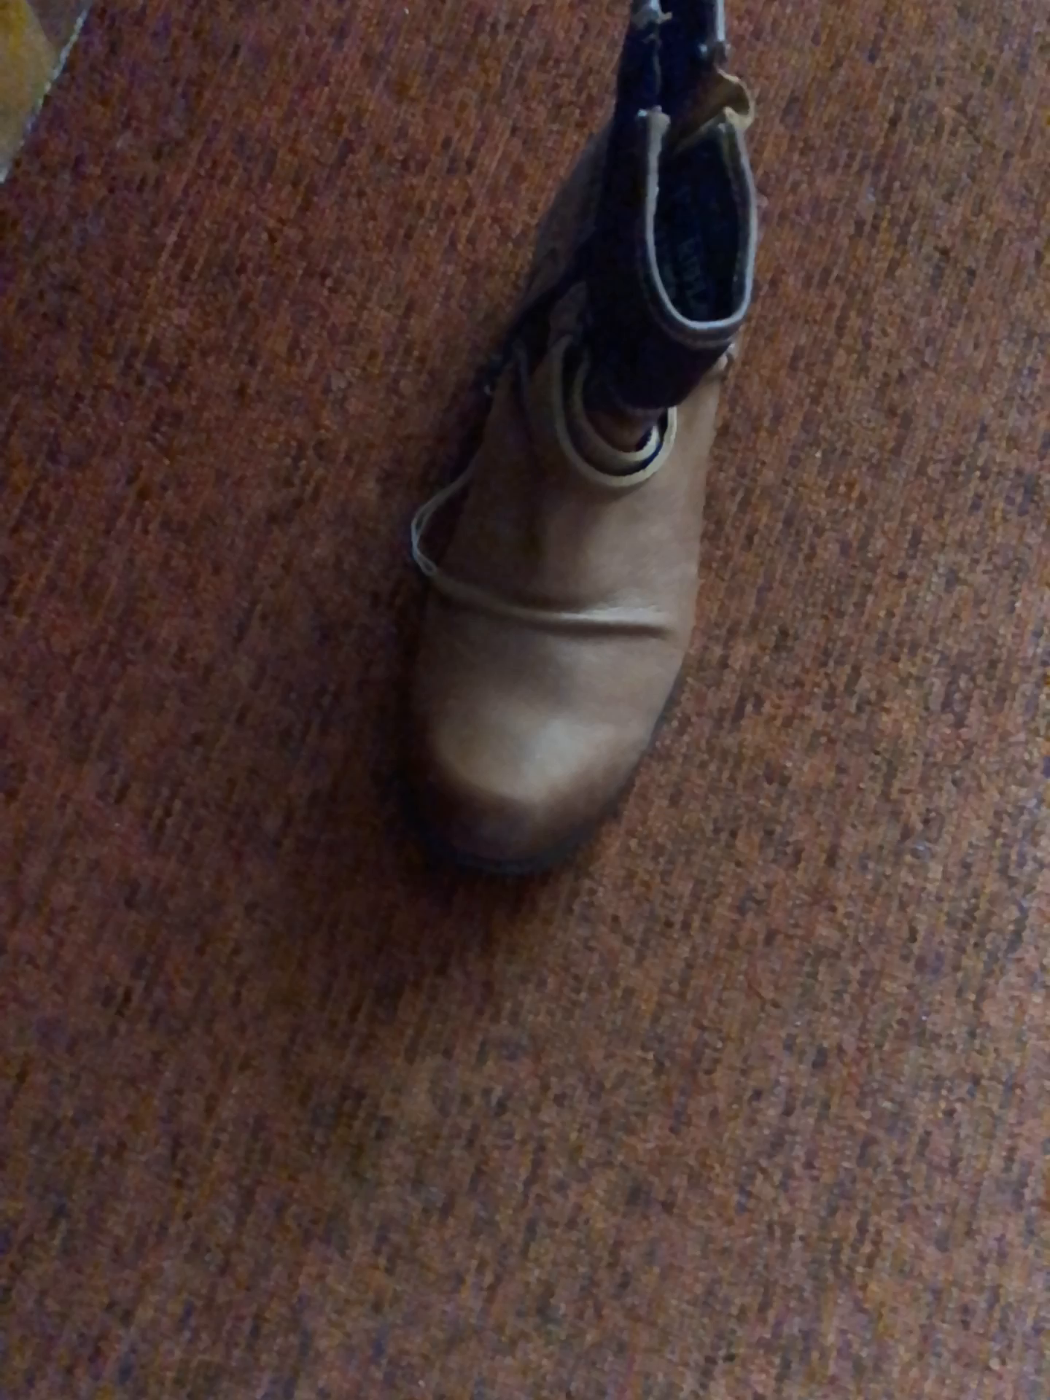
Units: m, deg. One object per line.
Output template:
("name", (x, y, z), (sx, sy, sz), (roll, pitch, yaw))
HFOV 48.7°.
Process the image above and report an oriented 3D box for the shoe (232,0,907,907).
("shoe", (0.018, -0.083, 0.384), (0.110, 0.190, 0.280), (13, 80, 2))
